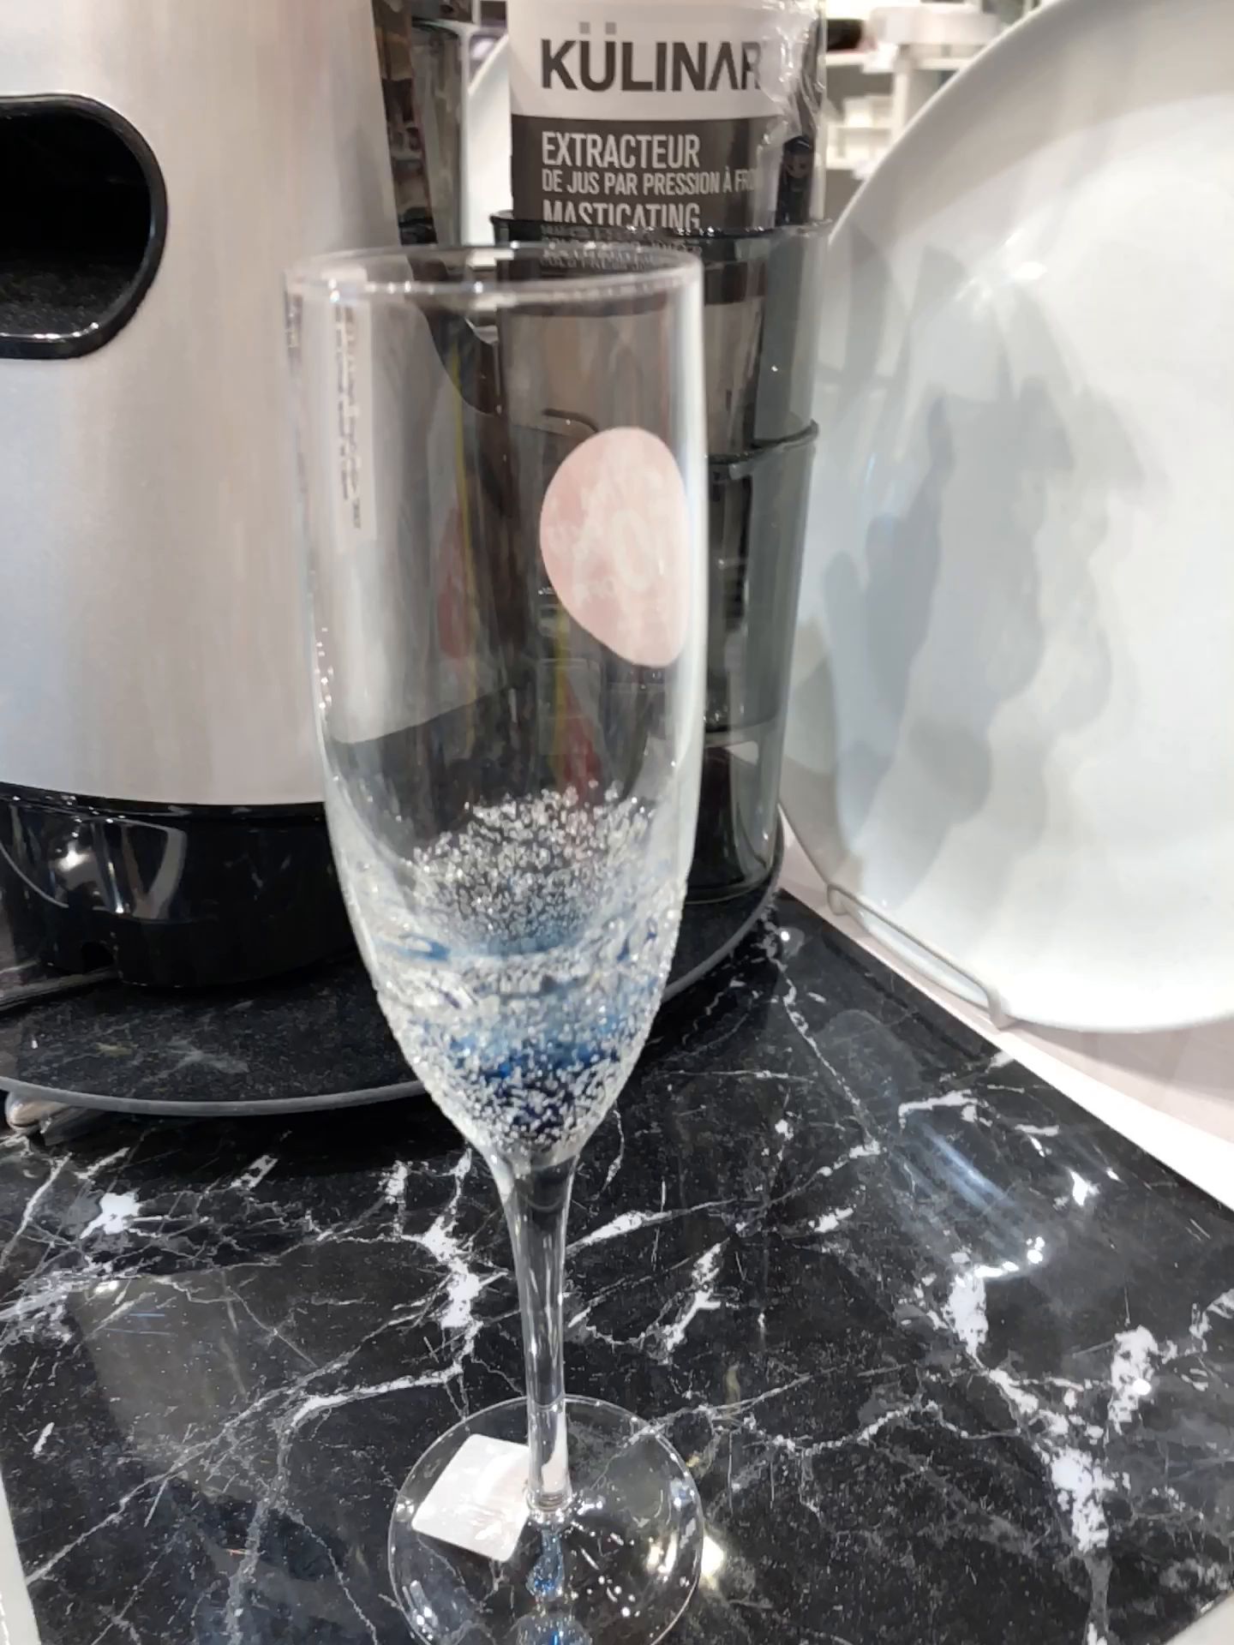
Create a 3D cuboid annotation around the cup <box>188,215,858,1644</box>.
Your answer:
[{"bbox_3d":[-0.016,0.038,0.229,0.070,0.249,0.070,0,27,0],"label":"cup"}]
